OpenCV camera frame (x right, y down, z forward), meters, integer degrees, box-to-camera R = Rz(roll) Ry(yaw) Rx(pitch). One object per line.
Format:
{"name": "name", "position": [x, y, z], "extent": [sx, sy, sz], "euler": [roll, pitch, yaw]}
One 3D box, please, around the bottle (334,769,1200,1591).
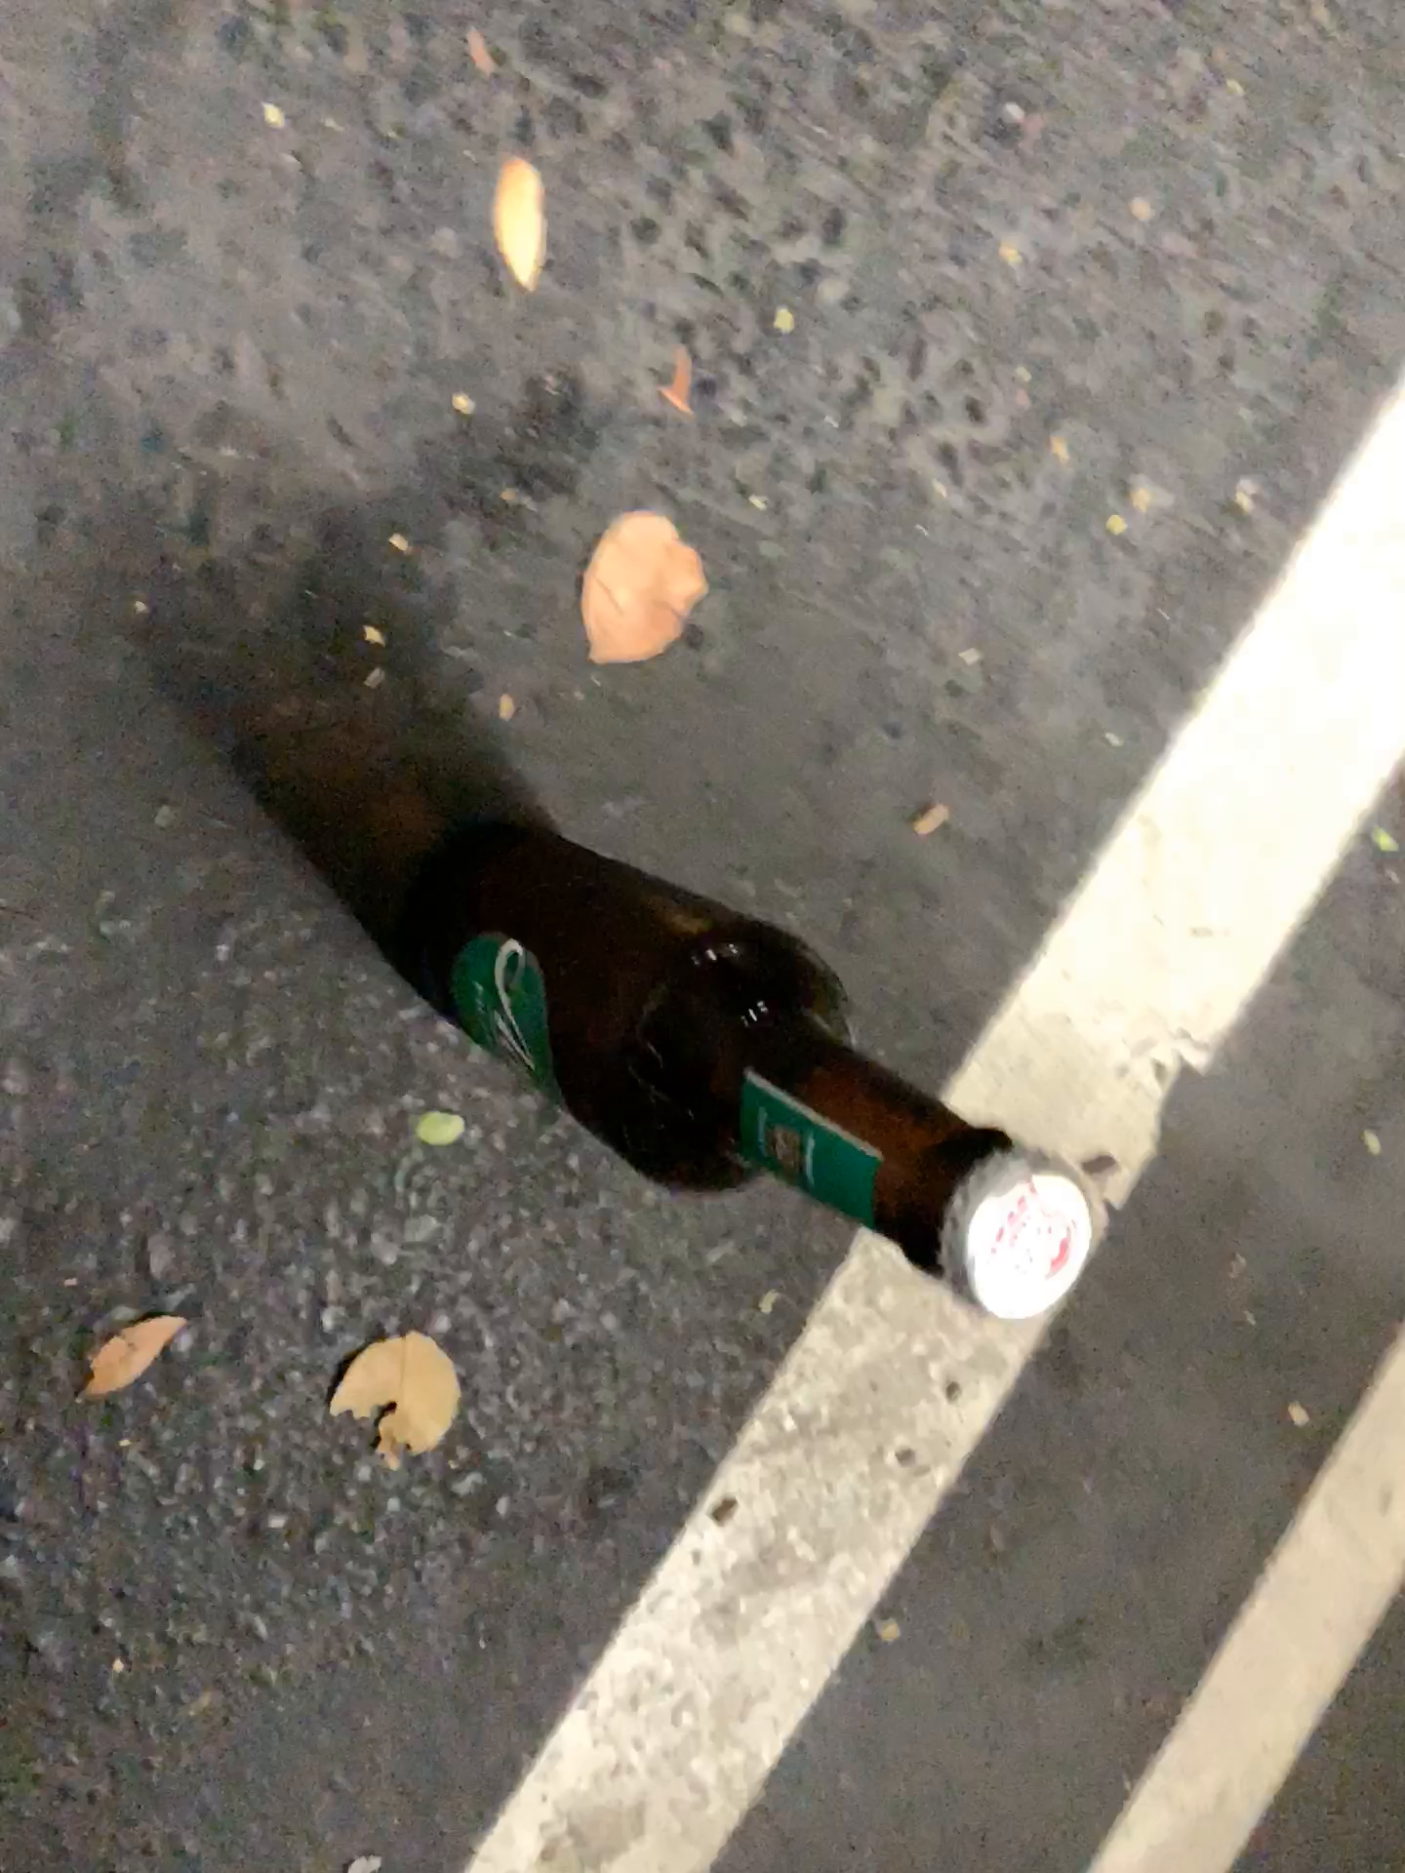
{"name": "bottle", "position": [-0.003, 0.029, 0.332], "extent": [0.070, 0.210, 0.070], "euler": [-9, 110, -27]}
